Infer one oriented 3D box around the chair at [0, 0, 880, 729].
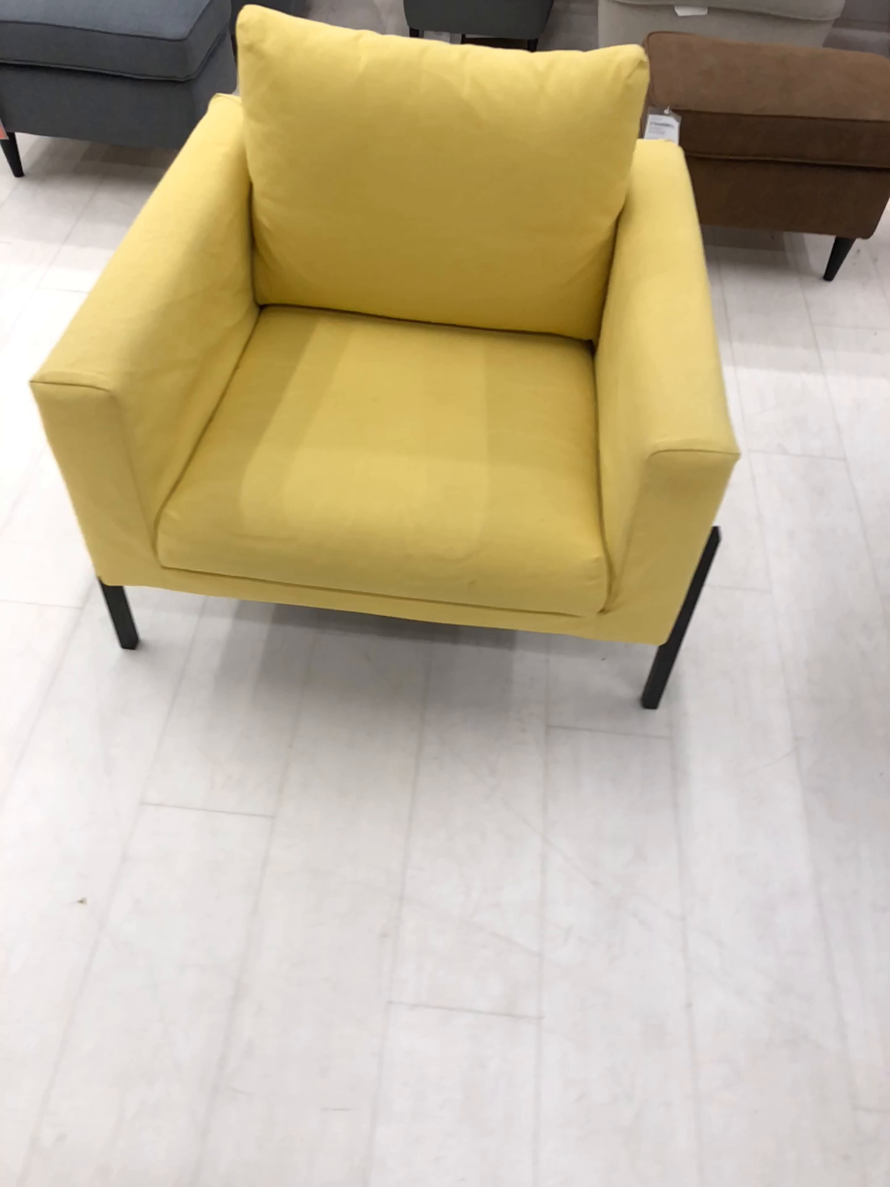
[{"bbox_3d":[-0.054,-0.345,1.464,0.980,0.758,0.692,6,51,1],"label":"chair"}]
